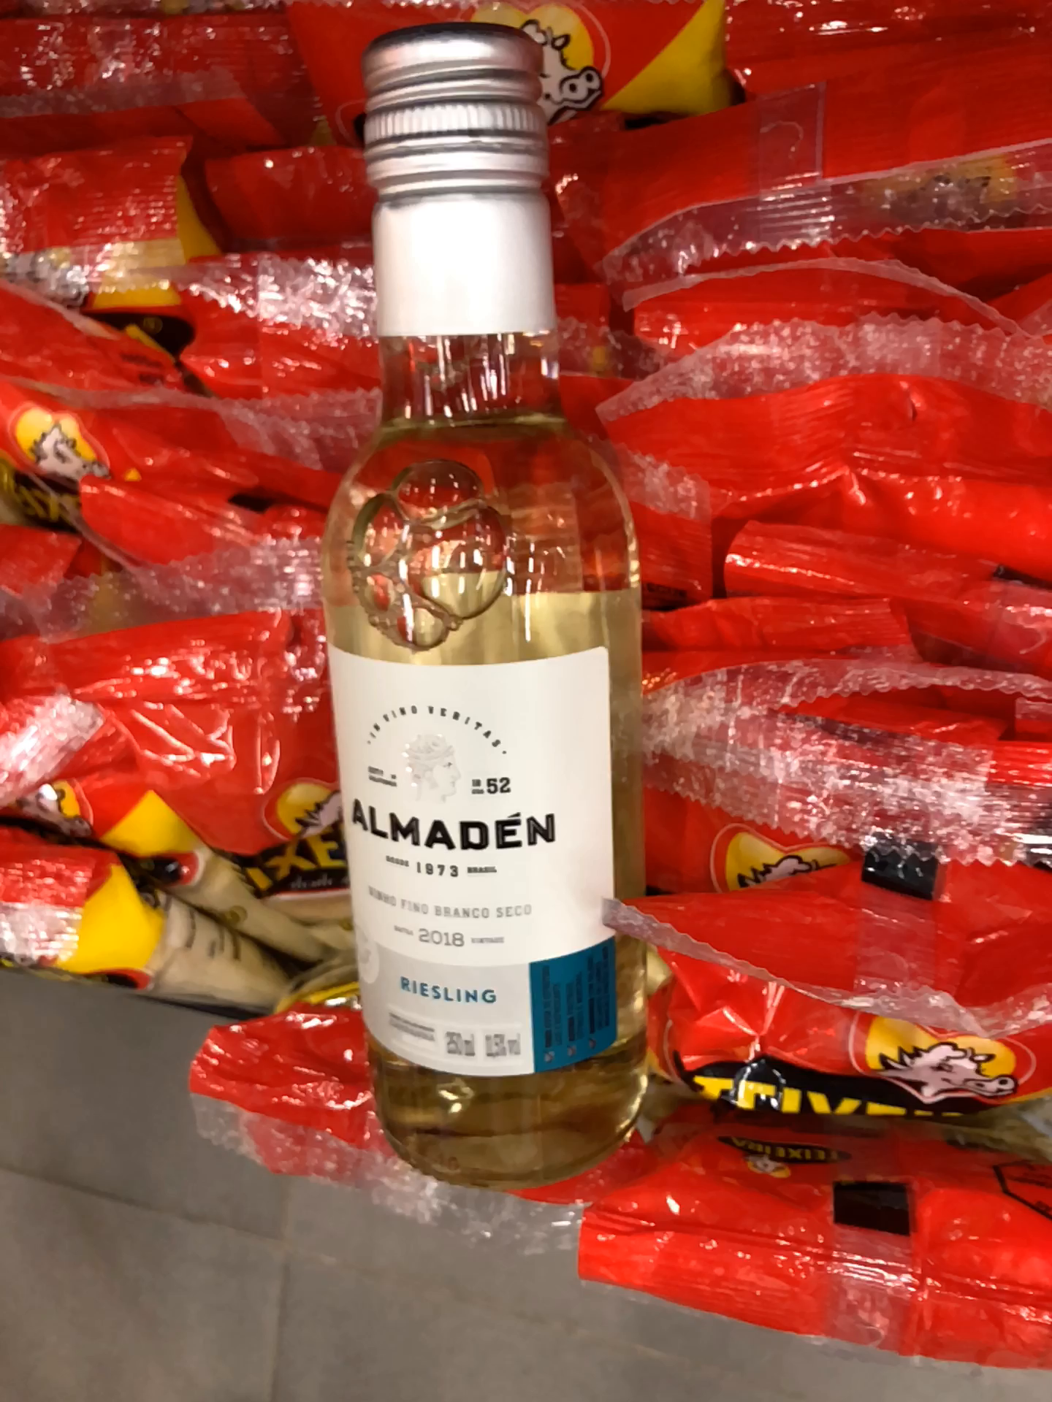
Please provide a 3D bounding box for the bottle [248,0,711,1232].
[{"bbox_3d":[-0.005,-0.016,0.208,0.060,0.040,0.210,5,106,20],"label":"bottle"}]
